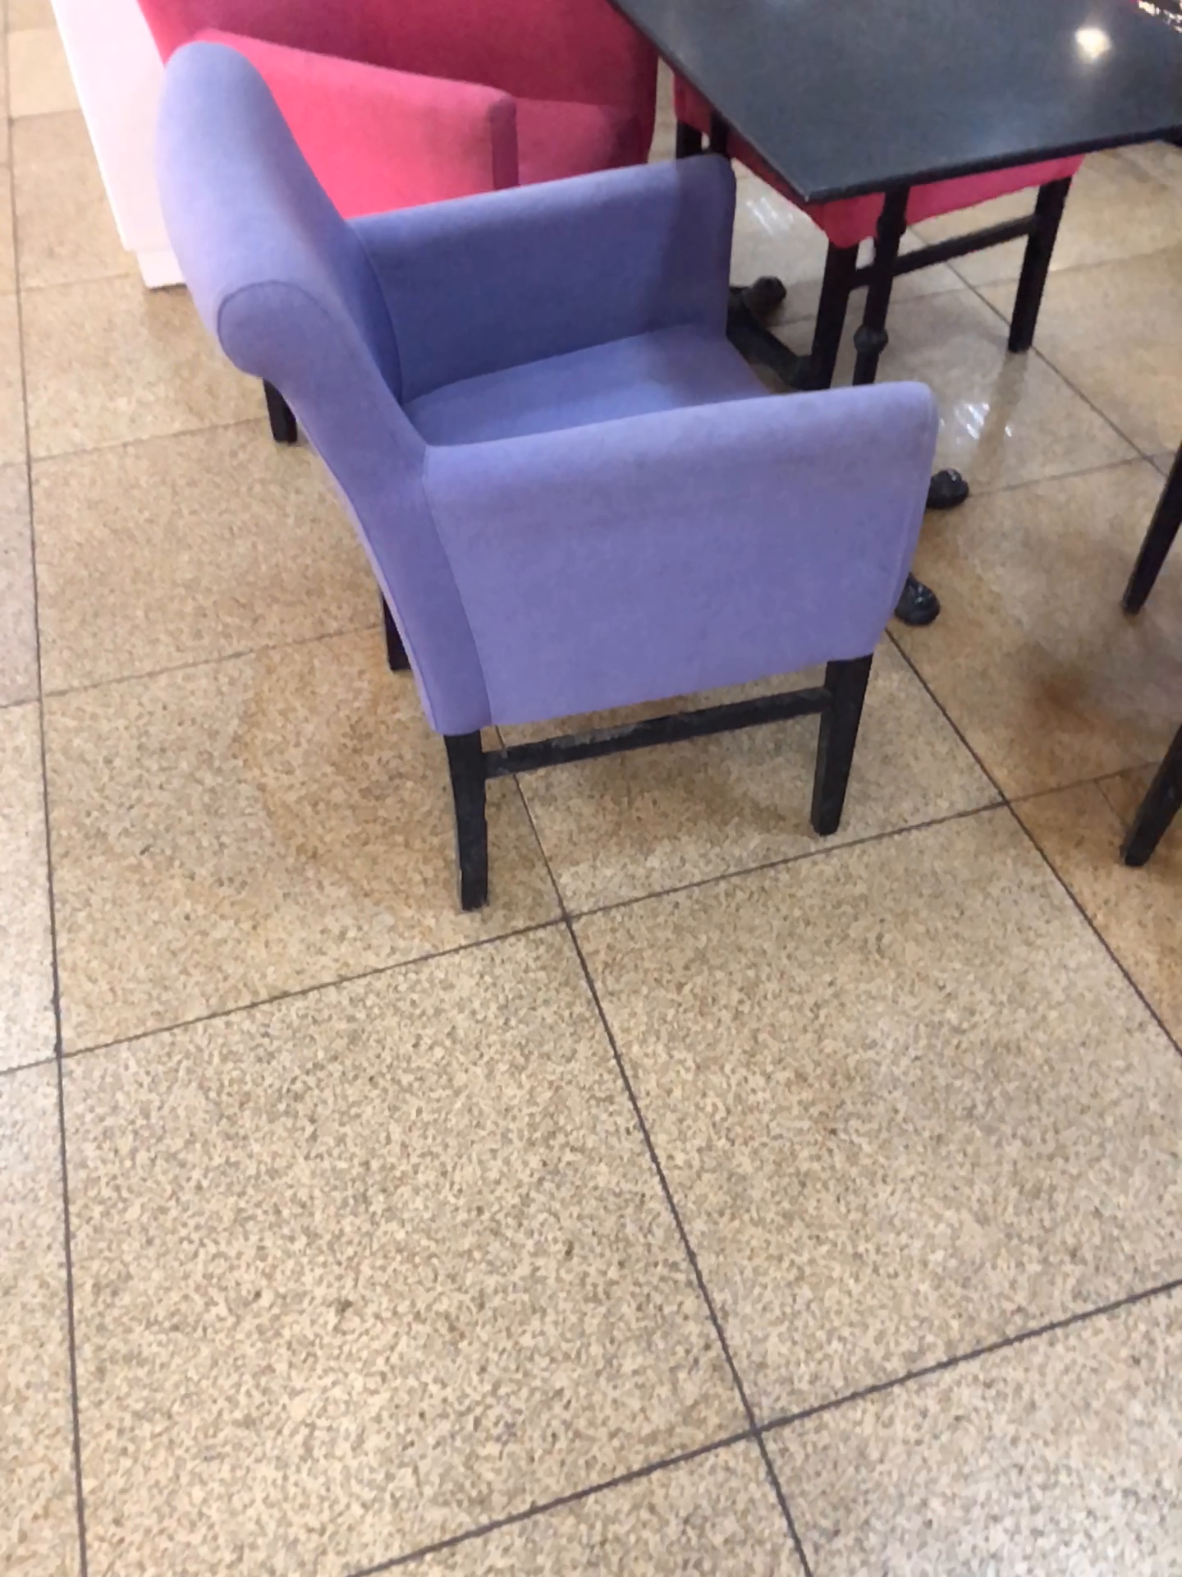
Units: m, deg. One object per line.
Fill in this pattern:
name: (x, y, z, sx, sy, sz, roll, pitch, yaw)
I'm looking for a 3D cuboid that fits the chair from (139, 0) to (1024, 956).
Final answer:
chair: (-0.048, -0.346, 1.453, 0.660, 0.817, 0.572, -12, 50, -10)
